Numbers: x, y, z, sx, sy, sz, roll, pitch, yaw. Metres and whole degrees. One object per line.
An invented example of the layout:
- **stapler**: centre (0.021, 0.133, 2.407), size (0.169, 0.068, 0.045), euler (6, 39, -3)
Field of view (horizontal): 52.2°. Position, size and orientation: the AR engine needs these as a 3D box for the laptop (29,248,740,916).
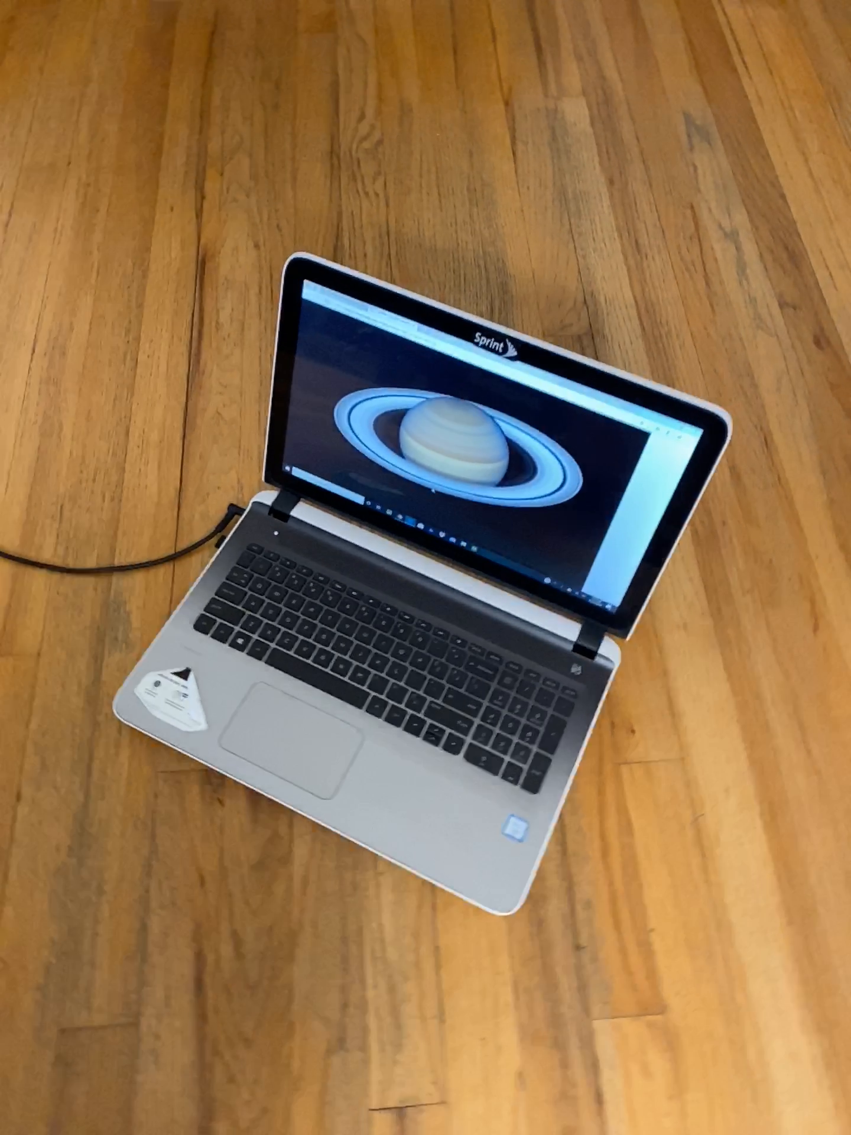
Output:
- **laptop**: centre (-0.015, 0.004, 0.695), size (0.371, 0.202, 0.364), euler (24, 65, 11)
